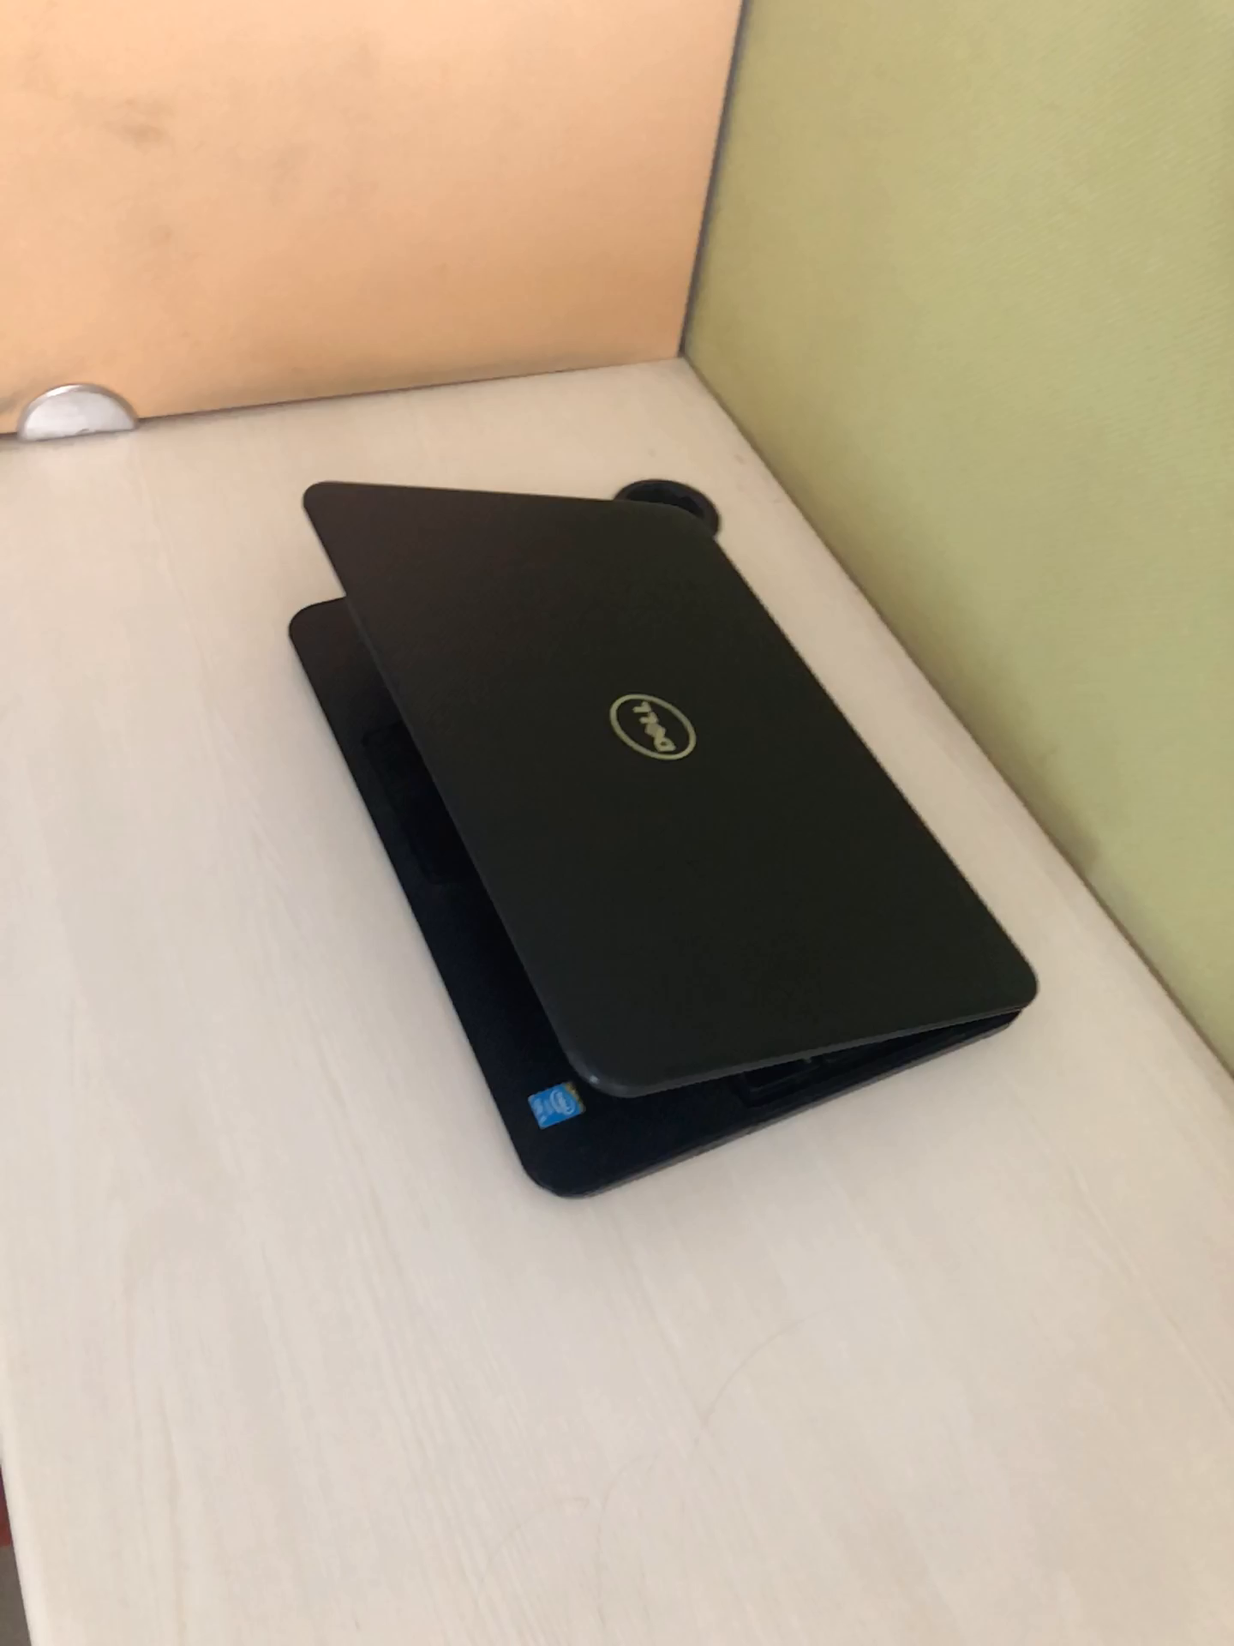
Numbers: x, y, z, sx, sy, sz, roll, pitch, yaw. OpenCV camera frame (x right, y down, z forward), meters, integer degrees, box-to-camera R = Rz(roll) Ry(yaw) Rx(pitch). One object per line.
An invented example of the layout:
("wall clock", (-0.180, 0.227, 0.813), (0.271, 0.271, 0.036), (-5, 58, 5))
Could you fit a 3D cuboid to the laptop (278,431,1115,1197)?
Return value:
("laptop", (0.015, -0.035, 0.648), (0.247, 0.078, 0.354), (-16, 55, -21))
